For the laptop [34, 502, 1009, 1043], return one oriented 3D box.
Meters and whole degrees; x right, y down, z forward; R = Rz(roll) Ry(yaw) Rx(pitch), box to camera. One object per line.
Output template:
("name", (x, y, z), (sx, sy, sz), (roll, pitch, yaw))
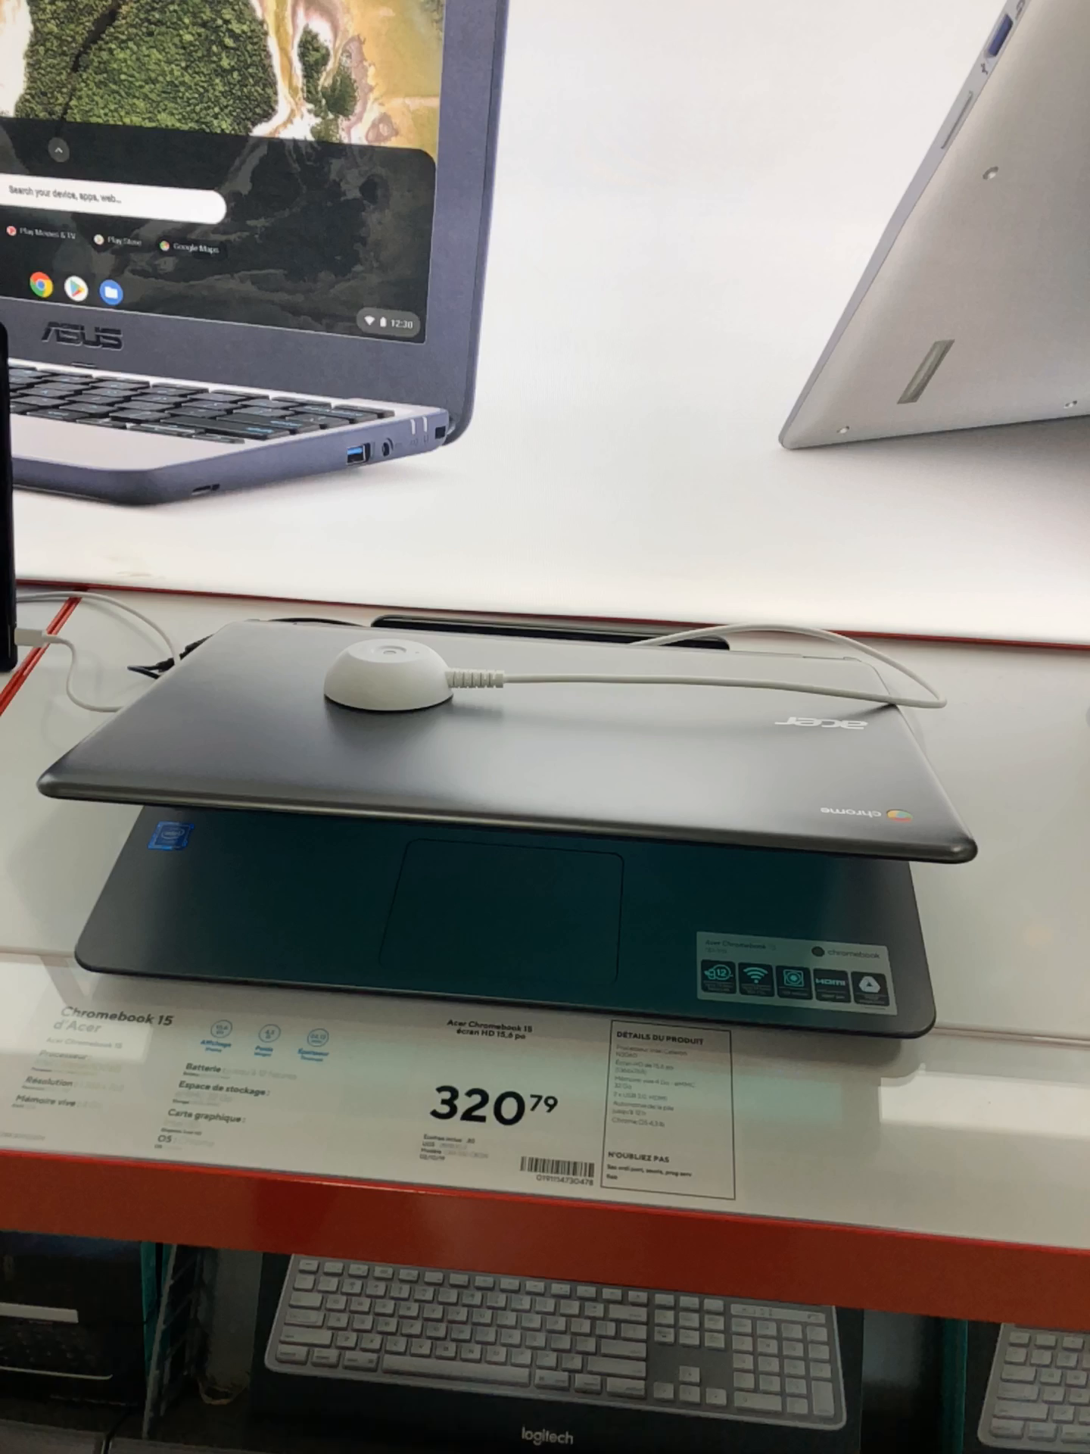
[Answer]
("laptop", (-0.005, 0.003, 0.574), (0.369, 0.088, 0.249), (4, 39, 5))
